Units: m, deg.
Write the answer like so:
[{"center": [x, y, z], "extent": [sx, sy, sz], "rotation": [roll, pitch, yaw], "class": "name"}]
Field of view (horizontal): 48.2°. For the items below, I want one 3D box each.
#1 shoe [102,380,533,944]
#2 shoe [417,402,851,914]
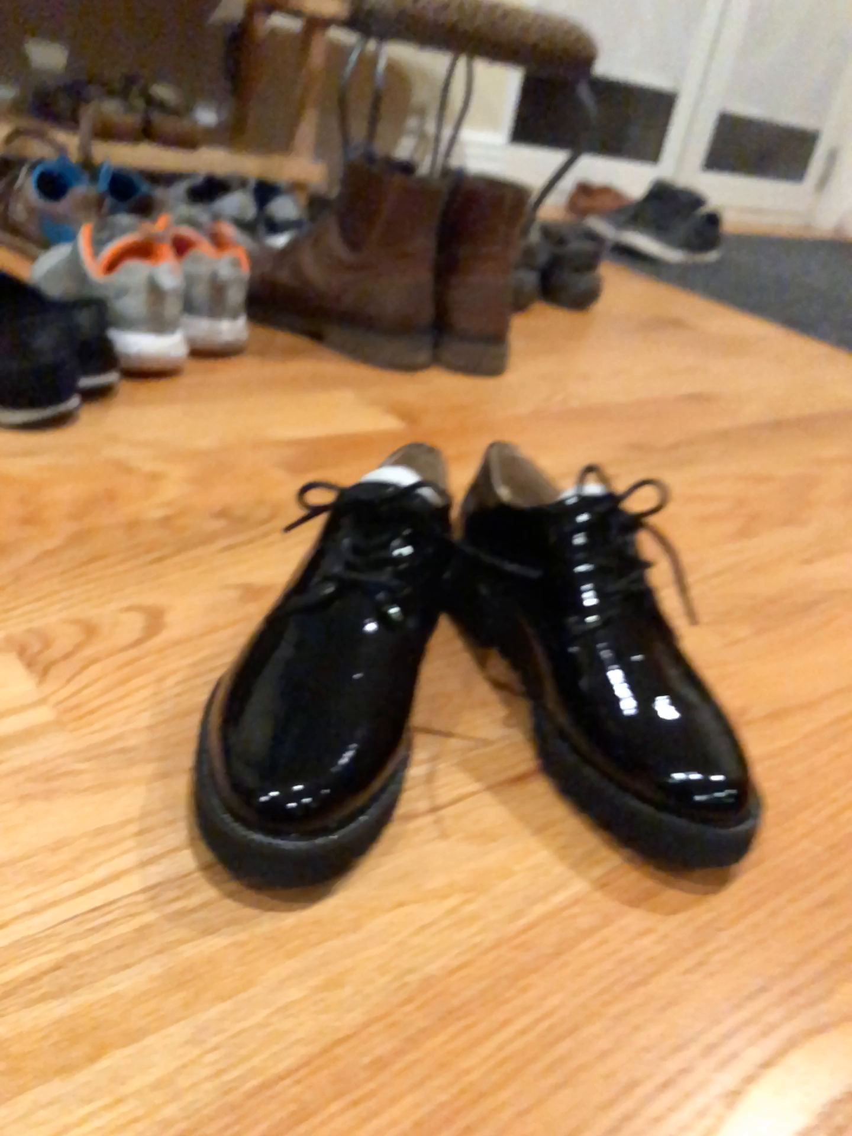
[{"center": [-0.028, 0.013, 0.407], "extent": [0.095, 0.101, 0.252], "rotation": [15, 29, 6], "class": "shoe"}, {"center": [0.087, 0.019, 0.446], "extent": [0.095, 0.101, 0.252], "rotation": [0, 31, -21], "class": "shoe"}]
